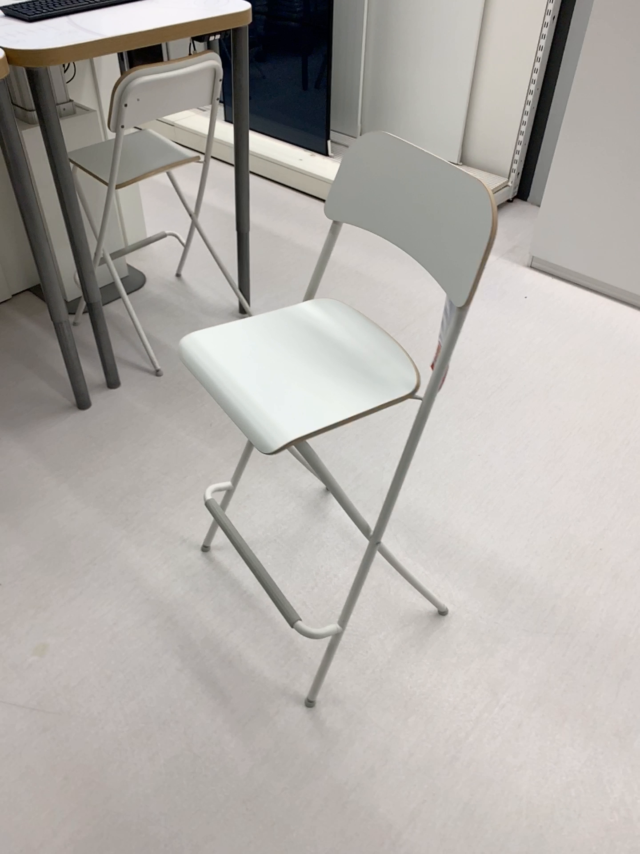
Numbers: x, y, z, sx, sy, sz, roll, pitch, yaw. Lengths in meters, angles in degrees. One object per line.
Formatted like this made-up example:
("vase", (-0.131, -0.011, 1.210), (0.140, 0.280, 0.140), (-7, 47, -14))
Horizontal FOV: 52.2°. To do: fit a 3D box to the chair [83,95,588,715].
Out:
("chair", (-0.008, -0.013, 1.238), (0.500, 0.936, 0.522), (-25, 49, -25))
